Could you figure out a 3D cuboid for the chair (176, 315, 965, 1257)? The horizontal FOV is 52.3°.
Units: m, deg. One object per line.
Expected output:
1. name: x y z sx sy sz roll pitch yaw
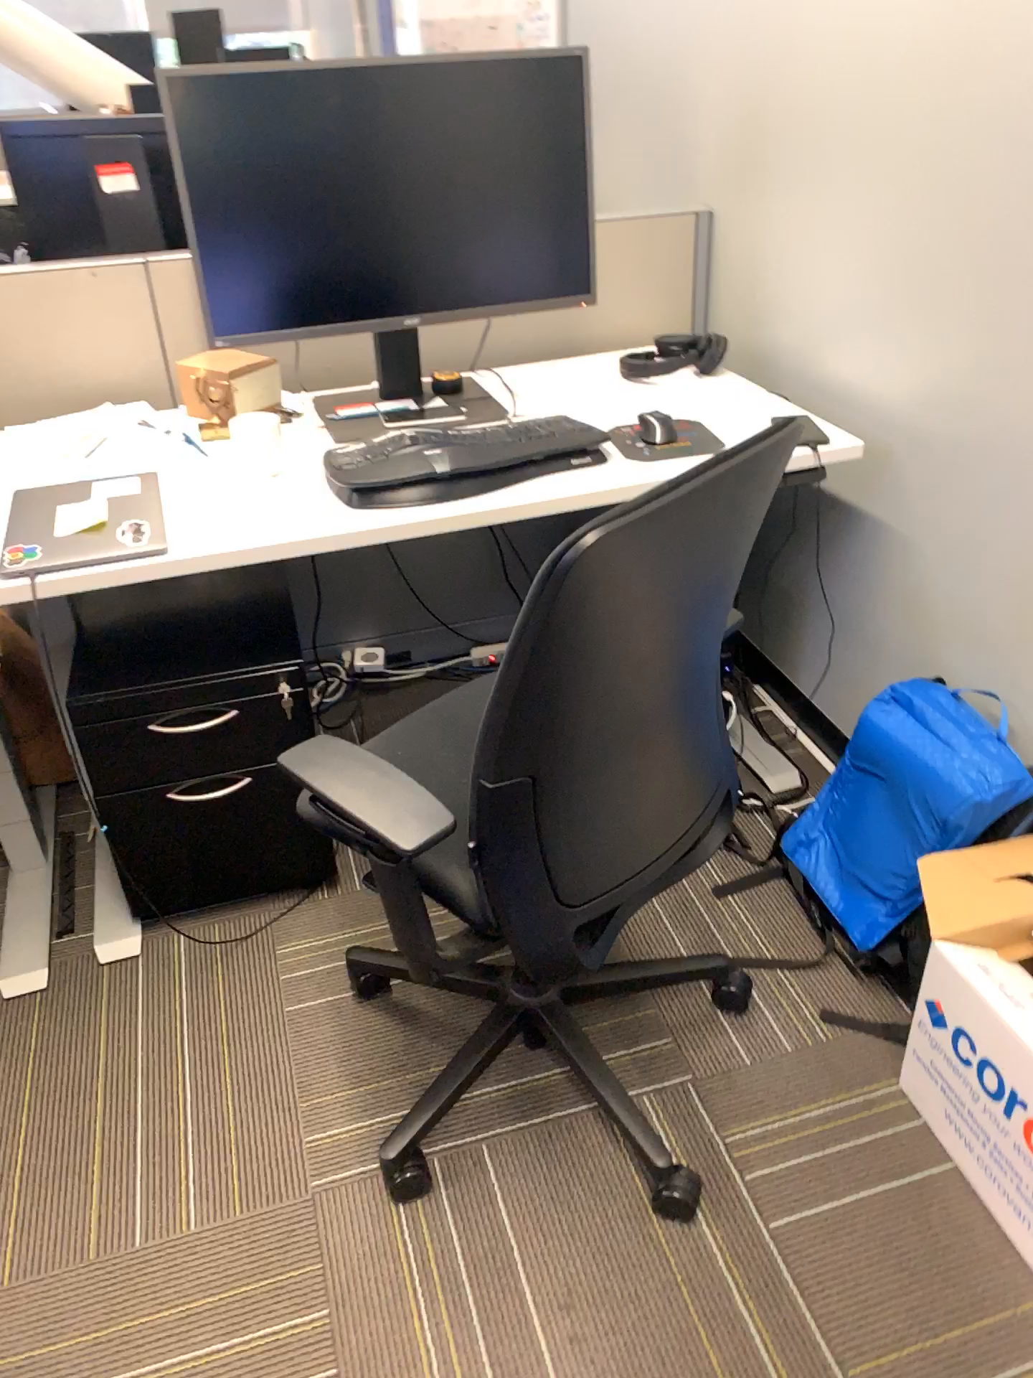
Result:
1. chair: 0.126 0.060 1.553 0.612 0.945 0.832 21 39 32
